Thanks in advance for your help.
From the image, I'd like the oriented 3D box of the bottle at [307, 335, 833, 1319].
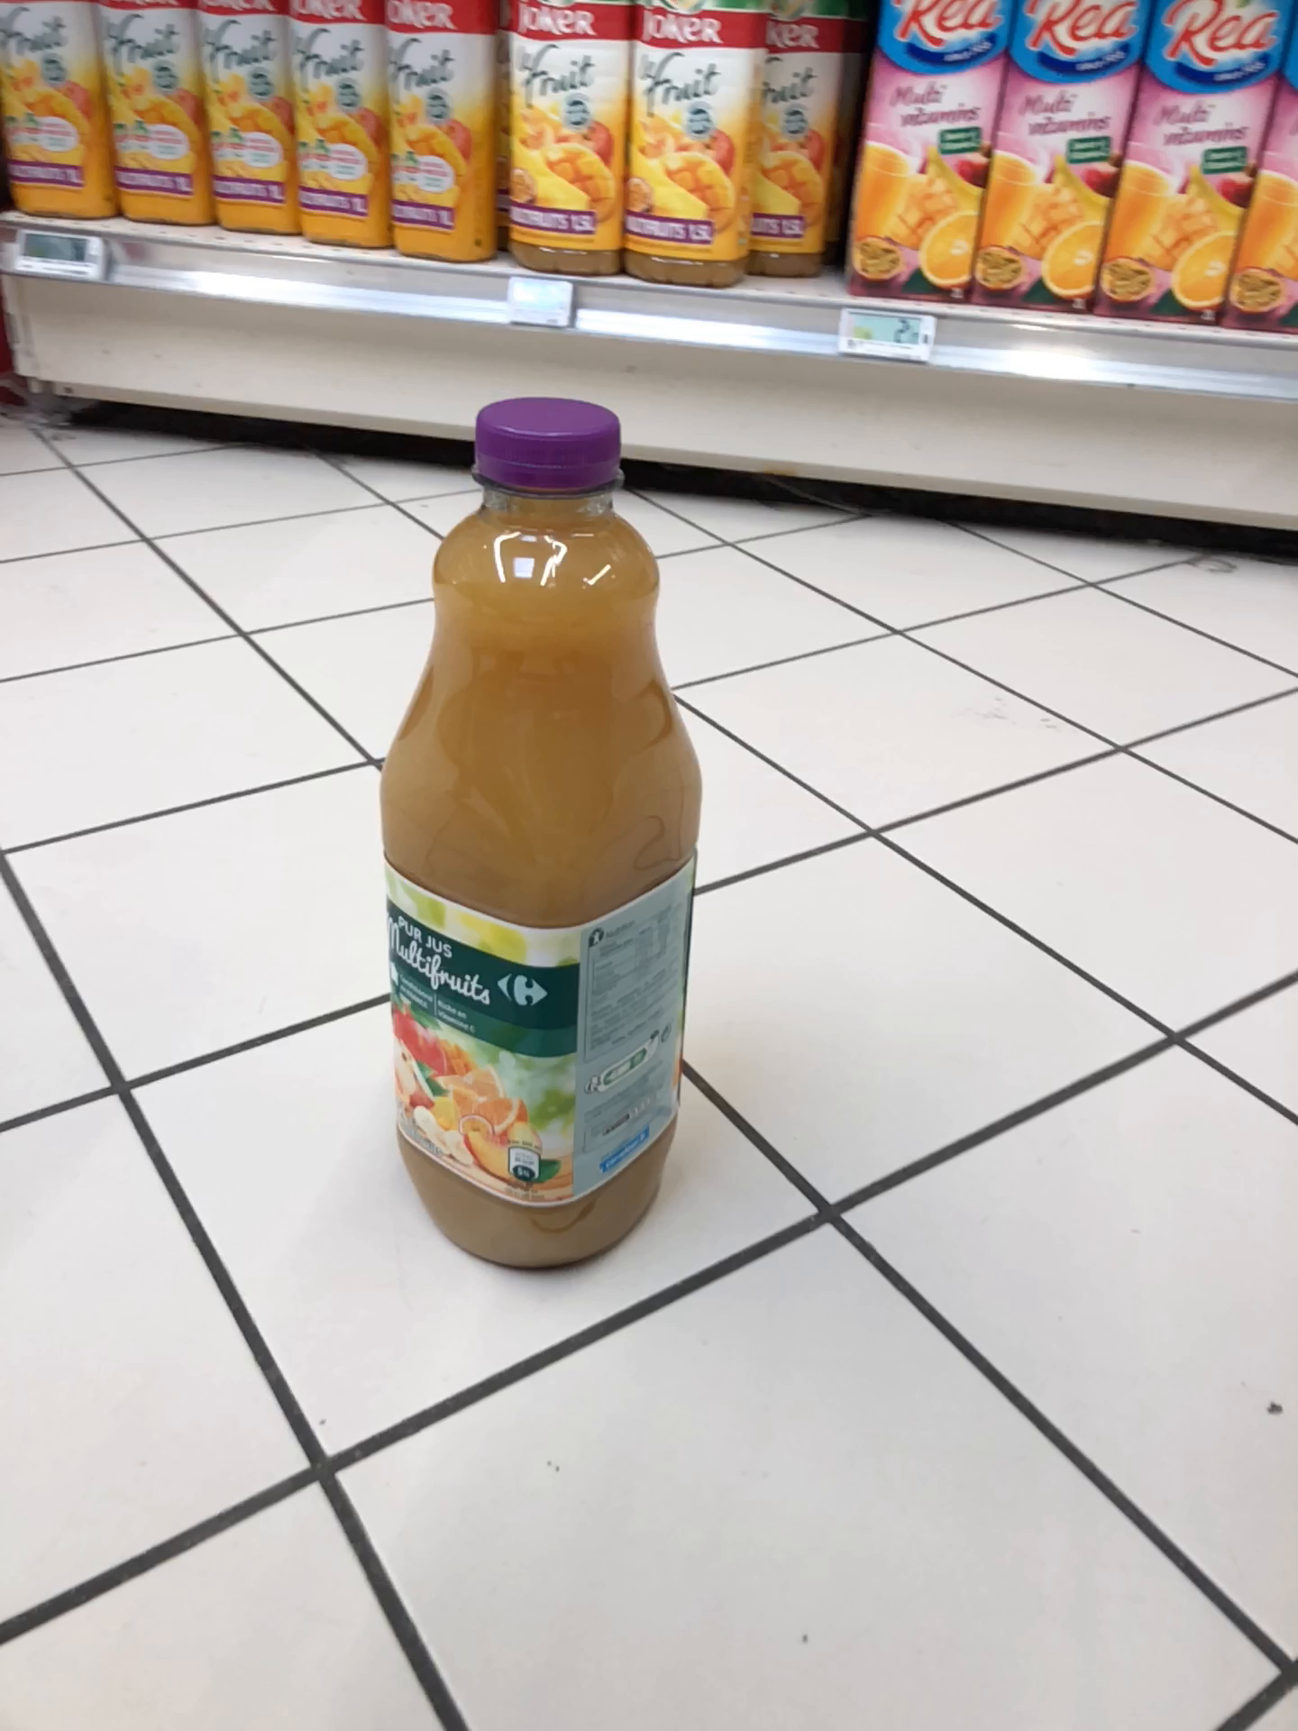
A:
[{"bbox_3d":[-0.026,-0.009,0.454,0.100,0.278,0.101,2,31,-1],"label":"bottle"}]
